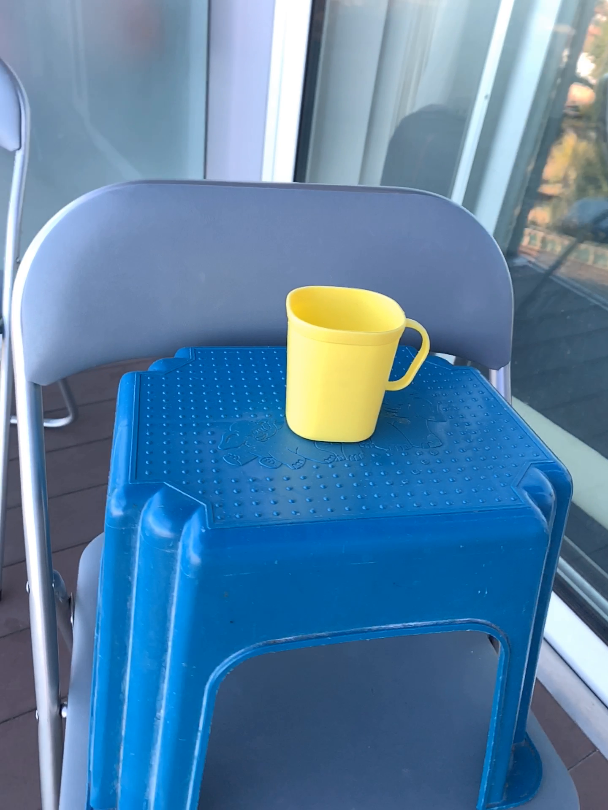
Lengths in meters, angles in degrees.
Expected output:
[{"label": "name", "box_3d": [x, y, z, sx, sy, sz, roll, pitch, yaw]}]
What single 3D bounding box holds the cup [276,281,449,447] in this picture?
[{"label": "cup", "box_3d": [0.030, -0.026, 0.390, 0.089, 0.077, 0.068, 2, 31, -6]}]
